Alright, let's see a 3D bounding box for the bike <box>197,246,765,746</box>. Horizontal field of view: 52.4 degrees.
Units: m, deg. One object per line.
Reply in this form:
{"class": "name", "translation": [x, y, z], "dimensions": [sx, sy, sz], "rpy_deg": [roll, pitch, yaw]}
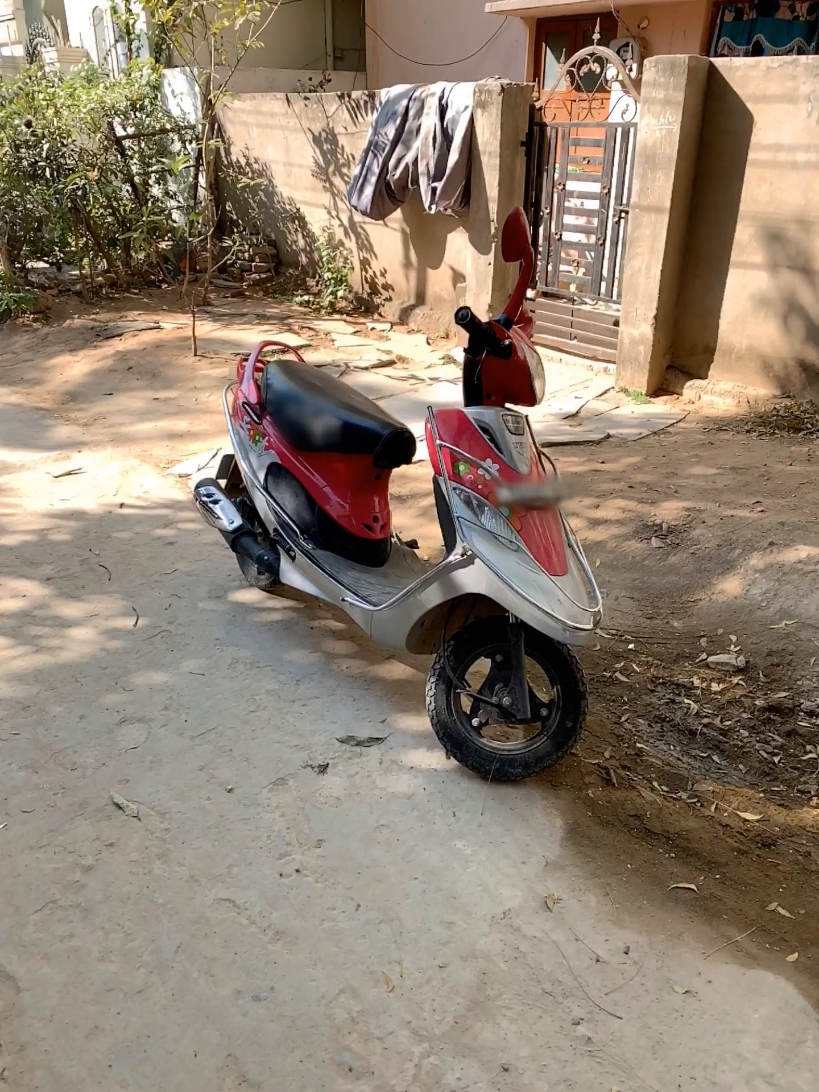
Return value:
{"class": "bike", "translation": [0.065, -0.262, 2.420], "dimensions": [0.485, 1.037, 1.497], "rpy_deg": [-23, 33, -38]}
